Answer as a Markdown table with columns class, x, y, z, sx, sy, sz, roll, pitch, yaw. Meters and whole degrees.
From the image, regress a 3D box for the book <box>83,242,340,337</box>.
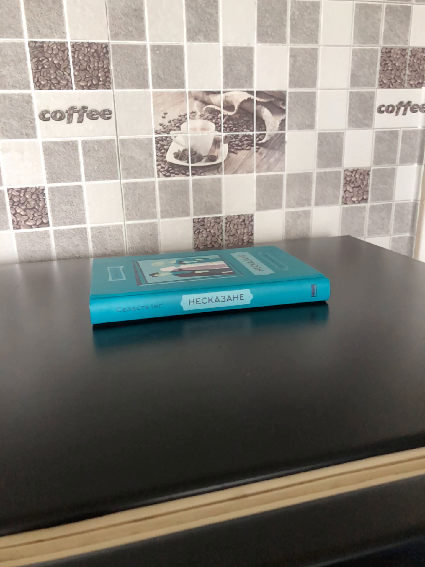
| class | x | y | z | sx | sy | sz | roll | pitch | yaw |
| --- | --- | --- | --- | --- | --- | --- | --- | --- | --- |
| book | -0.011 | -0.003 | 0.465 | 0.220 | 0.030 | 0.152 | -5 | 18 | -12 |
